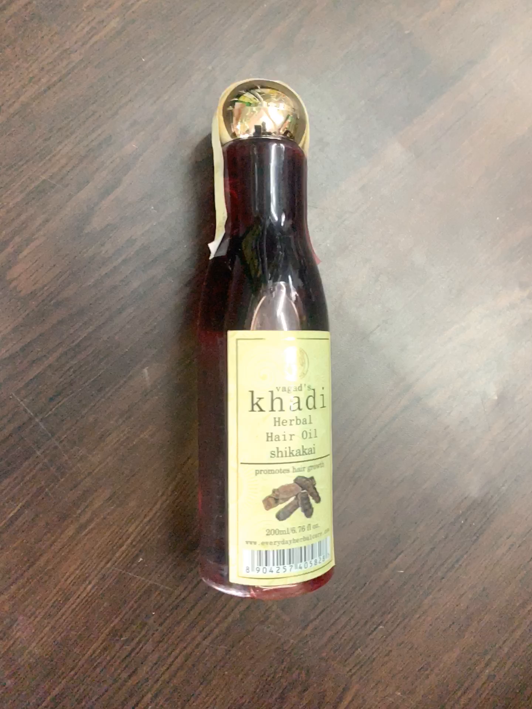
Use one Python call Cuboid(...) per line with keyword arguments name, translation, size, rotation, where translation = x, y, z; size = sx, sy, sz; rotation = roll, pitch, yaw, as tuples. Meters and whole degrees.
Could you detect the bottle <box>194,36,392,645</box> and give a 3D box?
Cuboid(name="bottle", translation=(0.006, -0.004, 0.186), size=(0.050, 0.050, 0.170), rotation=(-1, 90, -17))
